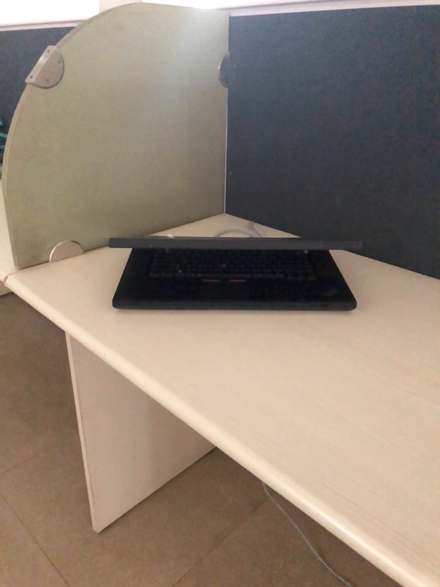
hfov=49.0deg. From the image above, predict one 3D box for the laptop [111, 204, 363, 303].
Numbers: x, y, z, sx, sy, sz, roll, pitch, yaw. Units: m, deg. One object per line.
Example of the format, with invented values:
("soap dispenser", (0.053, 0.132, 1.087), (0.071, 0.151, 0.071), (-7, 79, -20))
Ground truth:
("laptop", (0.023, -0.076, 0.817), (0.363, 0.077, 0.236), (1, 27, -1))
